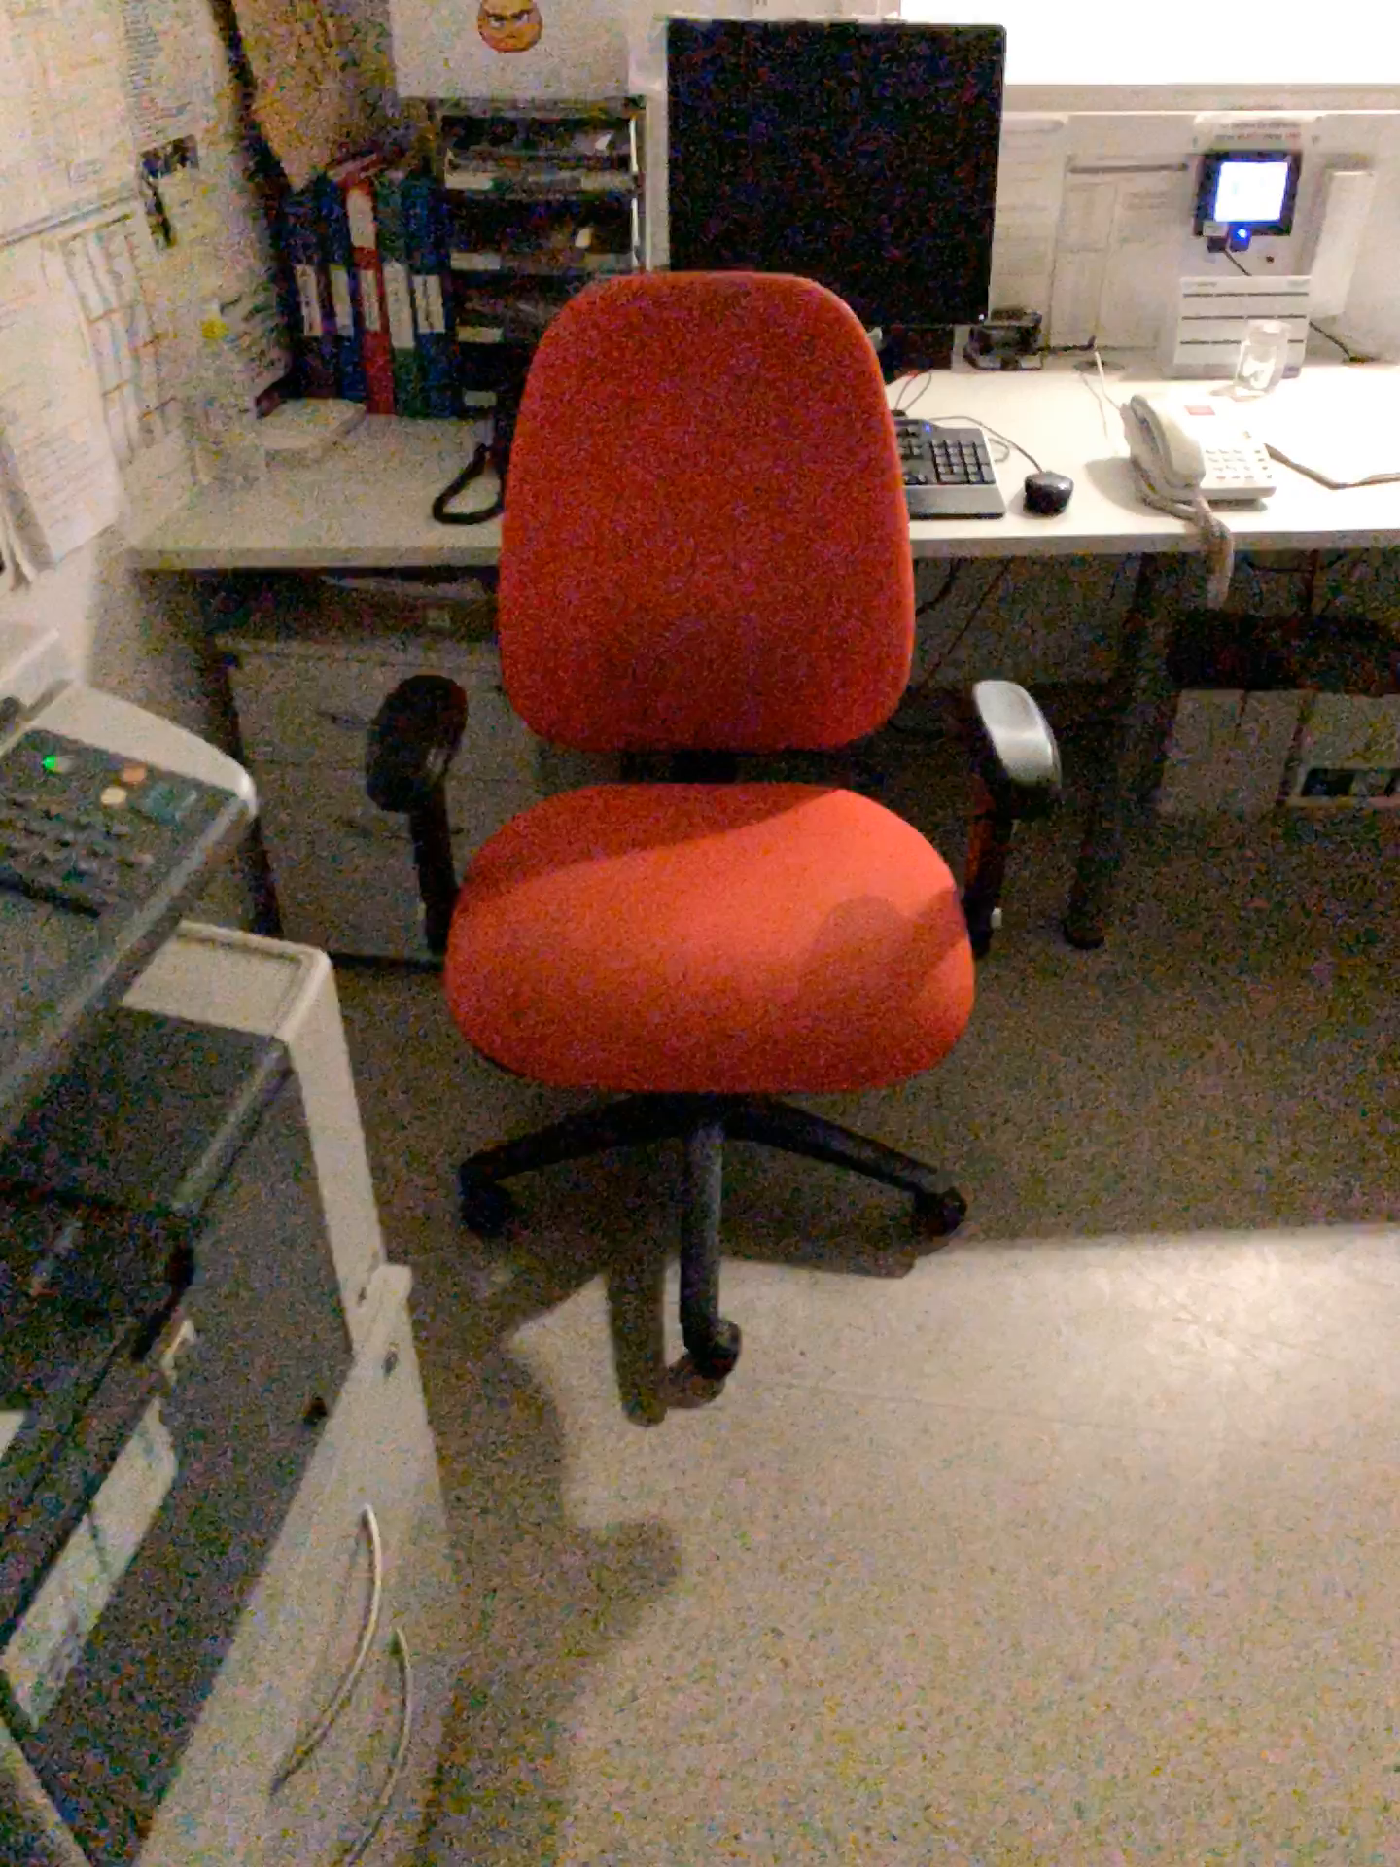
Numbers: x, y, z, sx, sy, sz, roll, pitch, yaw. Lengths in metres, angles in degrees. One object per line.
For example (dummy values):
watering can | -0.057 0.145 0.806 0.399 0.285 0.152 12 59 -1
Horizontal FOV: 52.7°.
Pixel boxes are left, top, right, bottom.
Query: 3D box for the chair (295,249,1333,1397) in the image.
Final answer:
chair | 0.049 -0.121 1.435 0.670 0.921 0.657 -3 36 -5
